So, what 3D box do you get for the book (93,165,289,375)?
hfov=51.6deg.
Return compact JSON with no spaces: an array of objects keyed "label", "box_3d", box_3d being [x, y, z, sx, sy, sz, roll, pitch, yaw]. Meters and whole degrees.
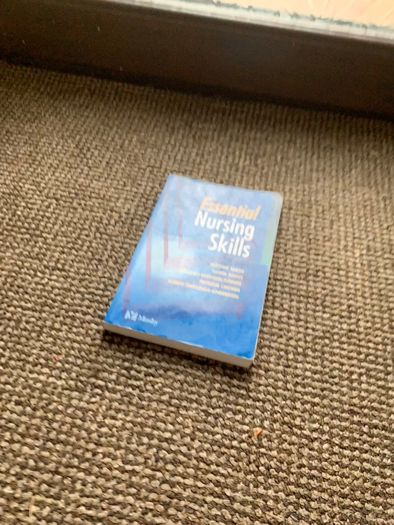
[{"label":"book","box_3d":[0.007,-0.010,0.483,0.170,0.020,0.252,12,56,8]}]
